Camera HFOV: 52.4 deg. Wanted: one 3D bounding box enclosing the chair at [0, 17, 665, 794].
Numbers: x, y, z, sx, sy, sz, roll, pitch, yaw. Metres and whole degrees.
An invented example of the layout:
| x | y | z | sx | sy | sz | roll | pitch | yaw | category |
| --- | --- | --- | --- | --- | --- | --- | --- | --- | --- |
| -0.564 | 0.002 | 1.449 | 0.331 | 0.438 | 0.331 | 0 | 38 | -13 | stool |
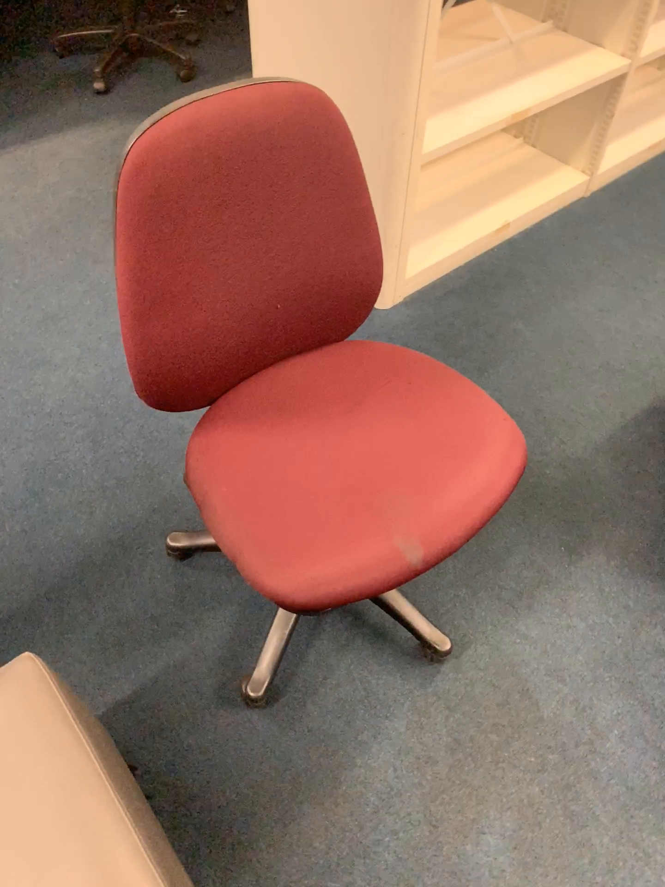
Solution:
| x | y | z | sx | sy | sz | roll | pitch | yaw | category |
| --- | --- | --- | --- | --- | --- | --- | --- | --- | --- |
| -0.006 | -0.051 | 1.066 | 0.652 | 0.783 | 0.694 | -28 | 58 | -22 | chair |
